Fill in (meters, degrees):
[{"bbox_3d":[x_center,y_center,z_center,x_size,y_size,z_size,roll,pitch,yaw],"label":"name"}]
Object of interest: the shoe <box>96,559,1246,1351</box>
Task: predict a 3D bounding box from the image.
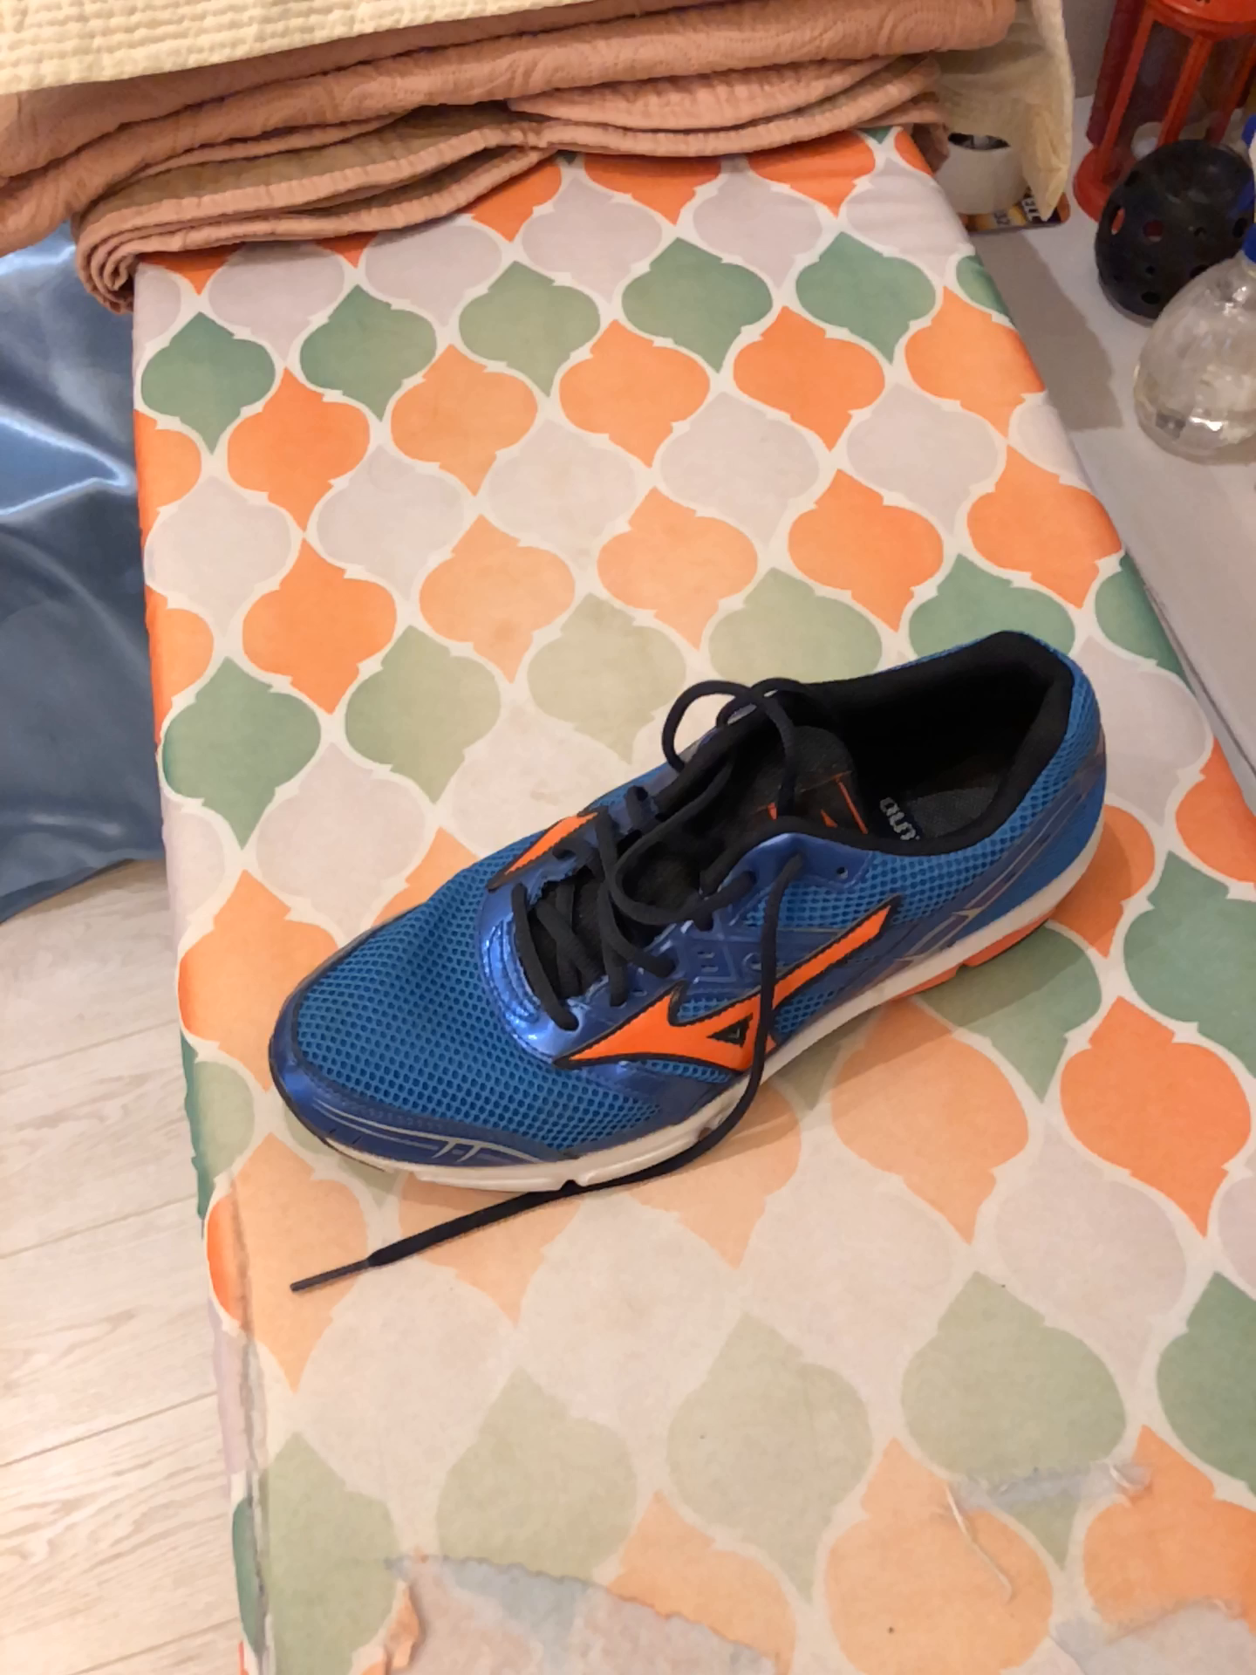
[{"bbox_3d":[0.013,0.038,0.447,0.310,0.110,0.120,-21,65,-8],"label":"shoe"}]
